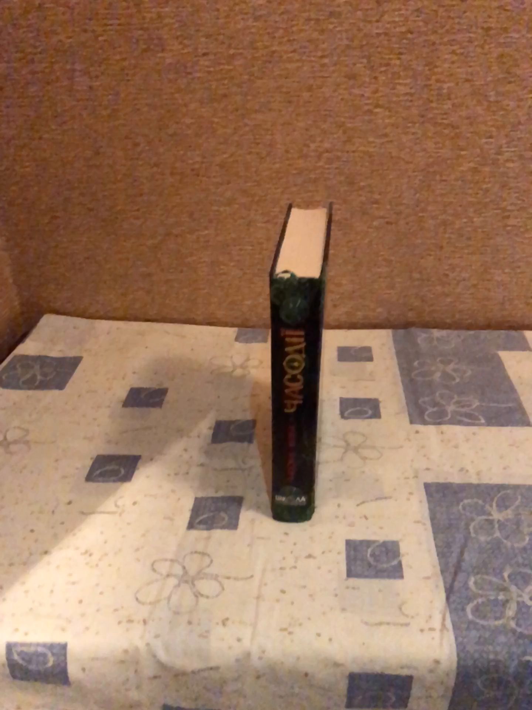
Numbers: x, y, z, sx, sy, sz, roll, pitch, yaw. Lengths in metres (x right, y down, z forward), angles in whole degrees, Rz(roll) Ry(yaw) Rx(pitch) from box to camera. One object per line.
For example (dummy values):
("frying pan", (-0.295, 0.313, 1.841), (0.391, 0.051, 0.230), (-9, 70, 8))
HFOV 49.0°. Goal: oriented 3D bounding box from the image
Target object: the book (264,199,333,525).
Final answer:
("book", (0.032, -0.001, 0.495), (0.040, 0.216, 0.174), (2, 29, 7))
